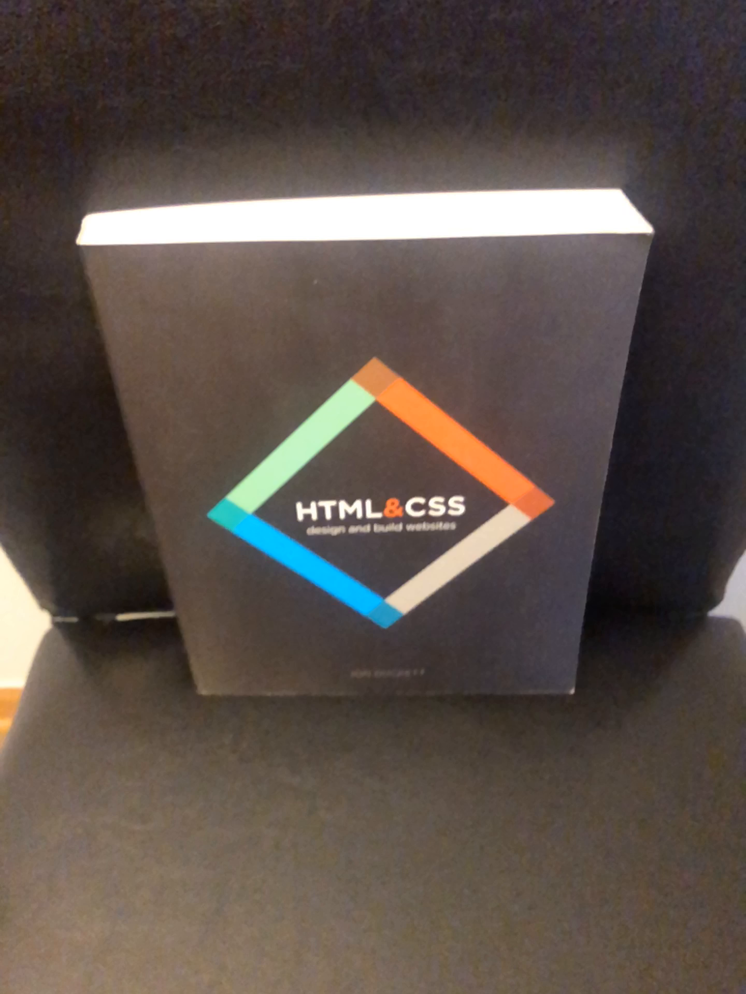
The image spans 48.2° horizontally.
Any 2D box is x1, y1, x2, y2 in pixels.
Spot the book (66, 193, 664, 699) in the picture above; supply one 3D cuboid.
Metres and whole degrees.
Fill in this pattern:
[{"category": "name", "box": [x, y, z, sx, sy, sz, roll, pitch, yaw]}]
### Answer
[{"category": "book", "box": [0.001, -0.002, 0.345, 0.188, 0.231, 0.030, -1, 38, 3]}]
